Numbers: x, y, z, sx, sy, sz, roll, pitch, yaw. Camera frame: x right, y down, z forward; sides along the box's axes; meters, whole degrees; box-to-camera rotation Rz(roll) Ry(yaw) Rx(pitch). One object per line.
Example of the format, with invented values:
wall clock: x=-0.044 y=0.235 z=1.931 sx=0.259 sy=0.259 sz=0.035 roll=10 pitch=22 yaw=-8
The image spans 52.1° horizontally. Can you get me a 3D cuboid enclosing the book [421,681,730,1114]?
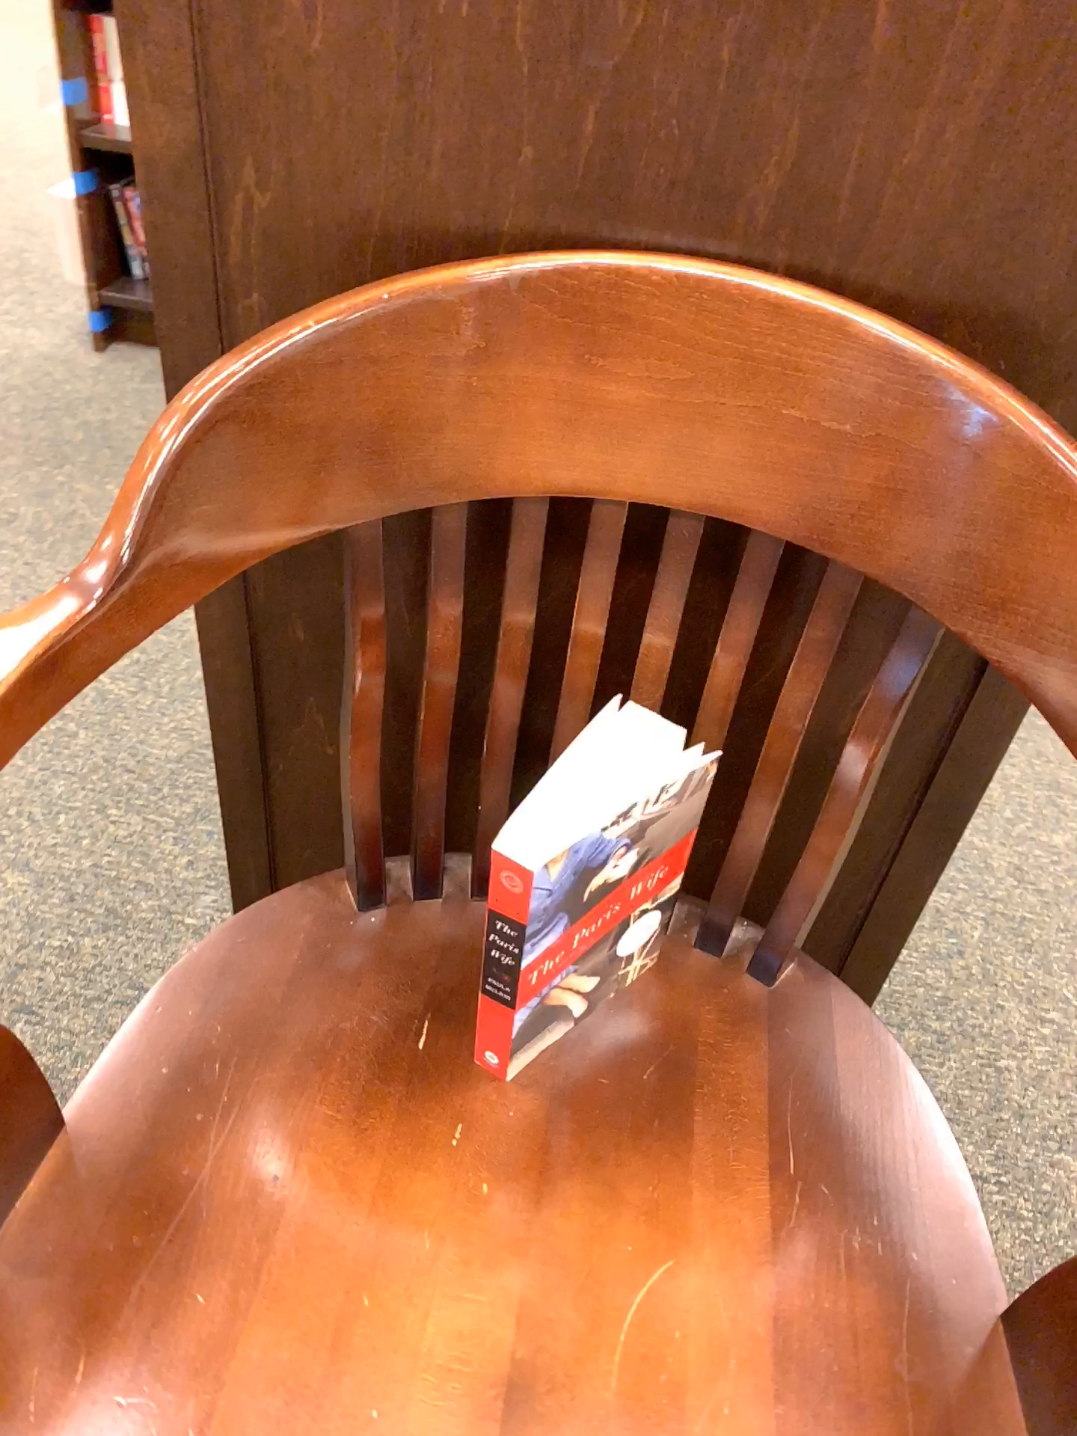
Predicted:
book: x=0.016 y=0.104 z=0.630 sx=0.071 sy=0.199 sz=0.150 roll=35 pitch=48 yaw=25
